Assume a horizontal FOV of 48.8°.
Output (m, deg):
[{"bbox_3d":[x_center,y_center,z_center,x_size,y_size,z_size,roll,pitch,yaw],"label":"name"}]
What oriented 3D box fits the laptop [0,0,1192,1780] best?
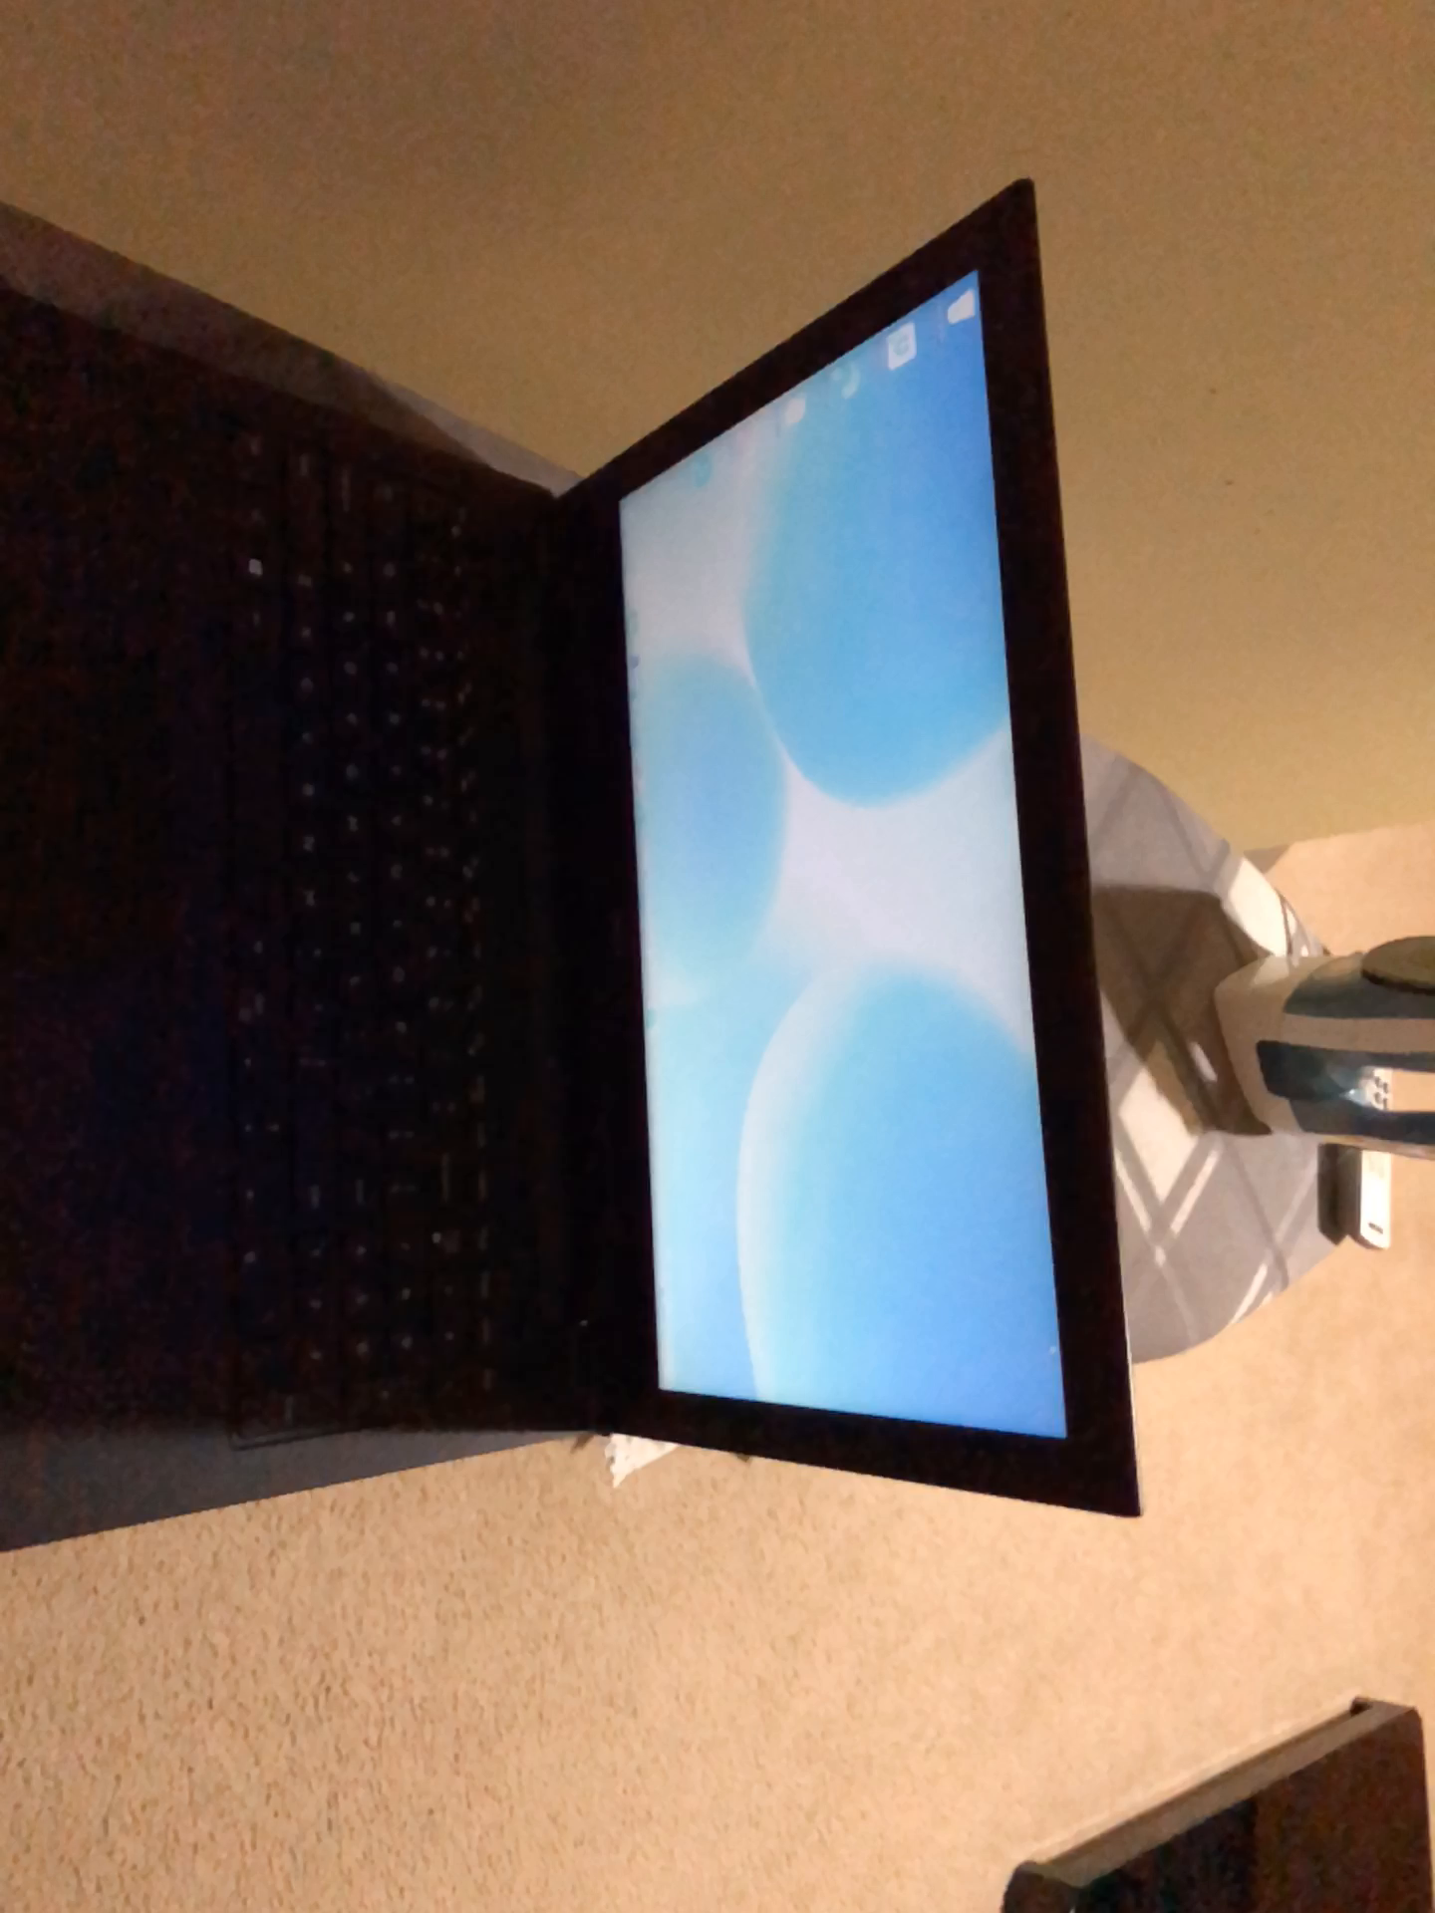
[{"bbox_3d":[-0.055,-0.025,0.429,0.248,0.231,0.352,5,79,-46],"label":"laptop"}]
